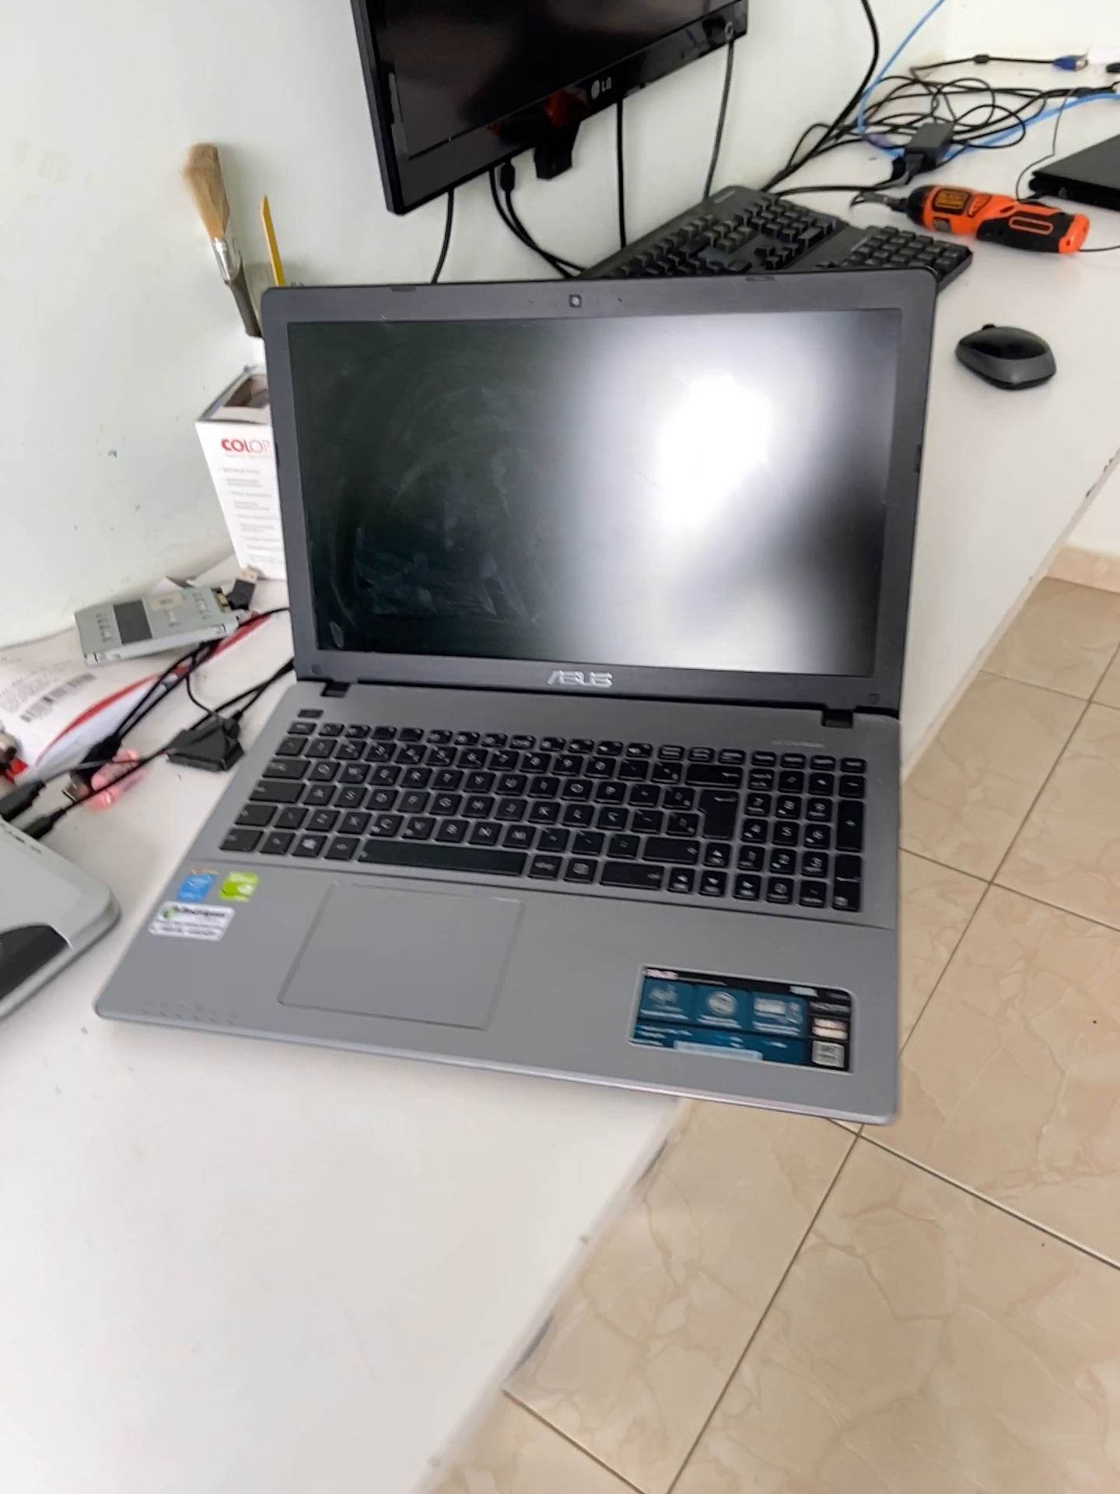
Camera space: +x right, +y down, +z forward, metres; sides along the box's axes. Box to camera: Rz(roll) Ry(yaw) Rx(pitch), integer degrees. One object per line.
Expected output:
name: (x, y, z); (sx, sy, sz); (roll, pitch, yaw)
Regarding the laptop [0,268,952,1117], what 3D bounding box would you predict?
laptop: (-0.016, -0.057, 0.575); (0.376, 0.213, 0.358); (4, 43, 14)
